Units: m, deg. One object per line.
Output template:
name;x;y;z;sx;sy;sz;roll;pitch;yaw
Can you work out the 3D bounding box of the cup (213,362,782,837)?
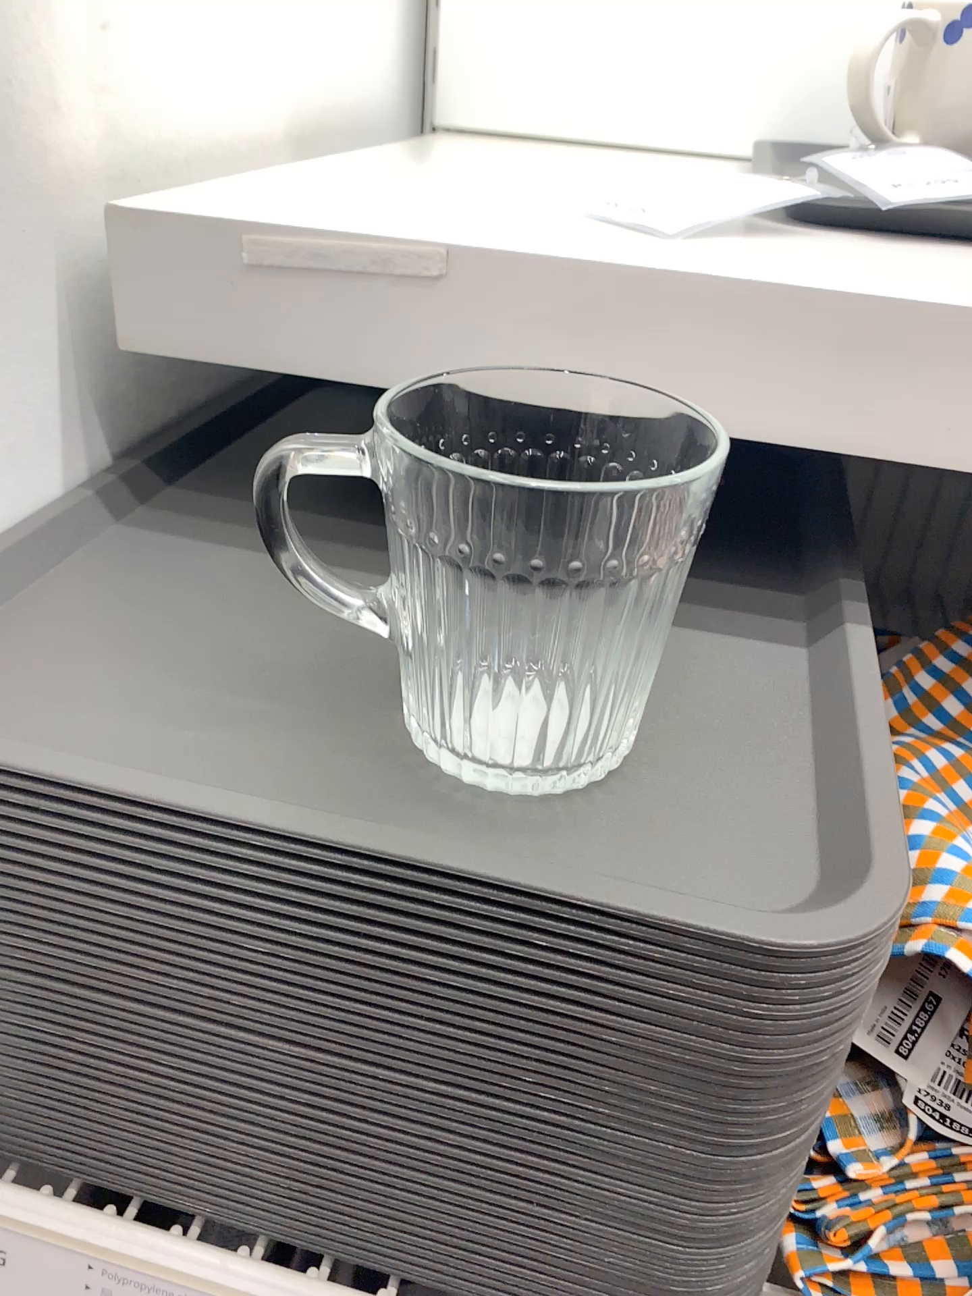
cup;0.002;-0.016;0.248;0.110;0.080;0.080;5;29;2
